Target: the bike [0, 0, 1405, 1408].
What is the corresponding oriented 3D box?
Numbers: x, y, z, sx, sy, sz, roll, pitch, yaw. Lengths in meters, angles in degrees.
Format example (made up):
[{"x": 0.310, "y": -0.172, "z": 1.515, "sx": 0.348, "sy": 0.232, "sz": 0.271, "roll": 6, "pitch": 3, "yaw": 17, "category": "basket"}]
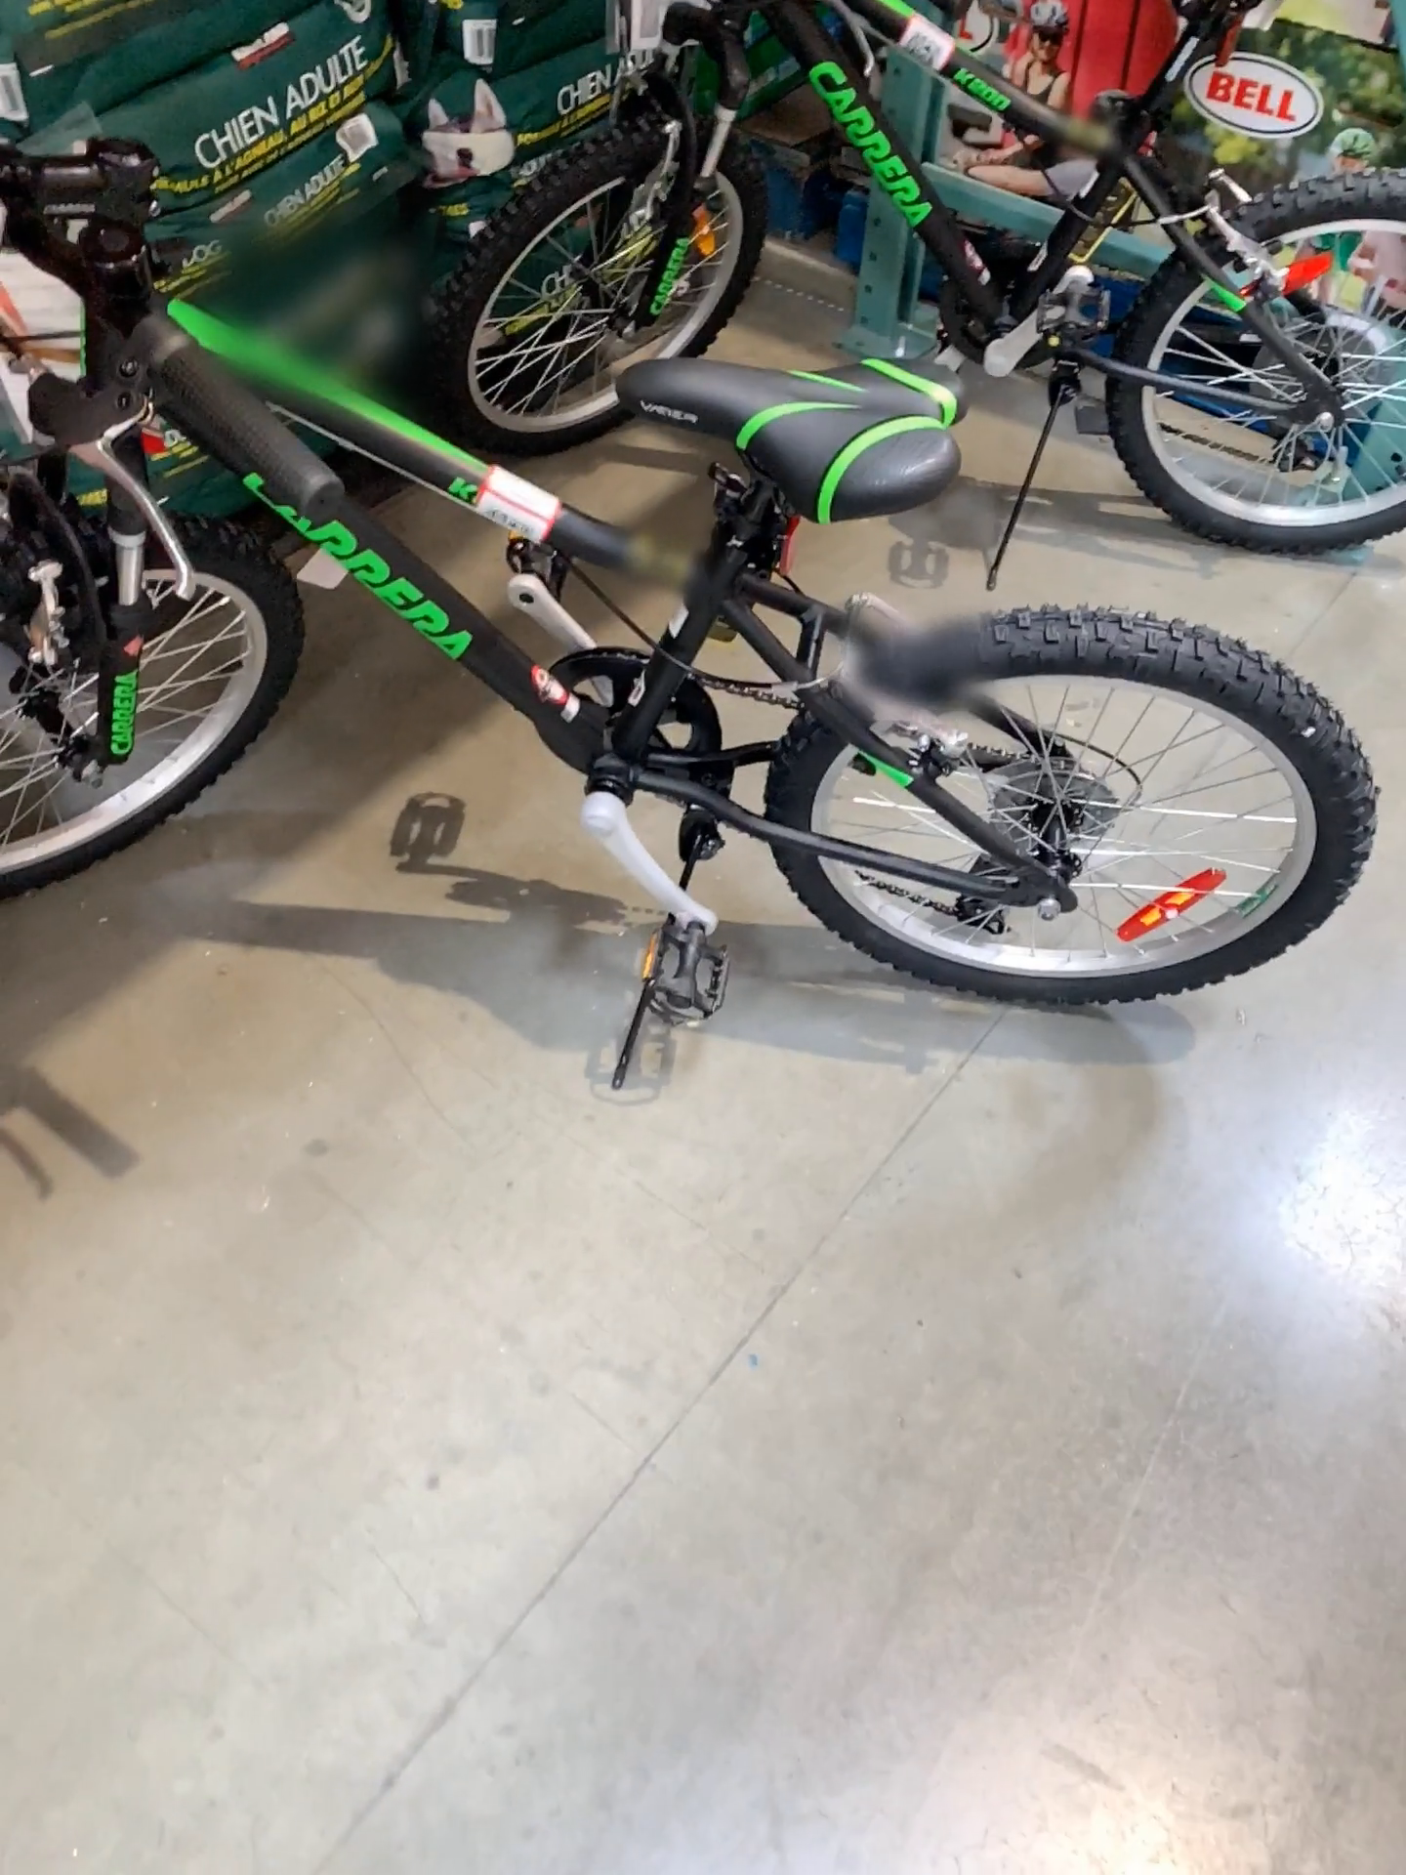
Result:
[{"x": -0.086, "y": -0.186, "z": 1.037, "sx": 1.304, "sy": 0.855, "sz": 0.711, "roll": 2, "pitch": 50, "yaw": -3, "category": "bike"}]
